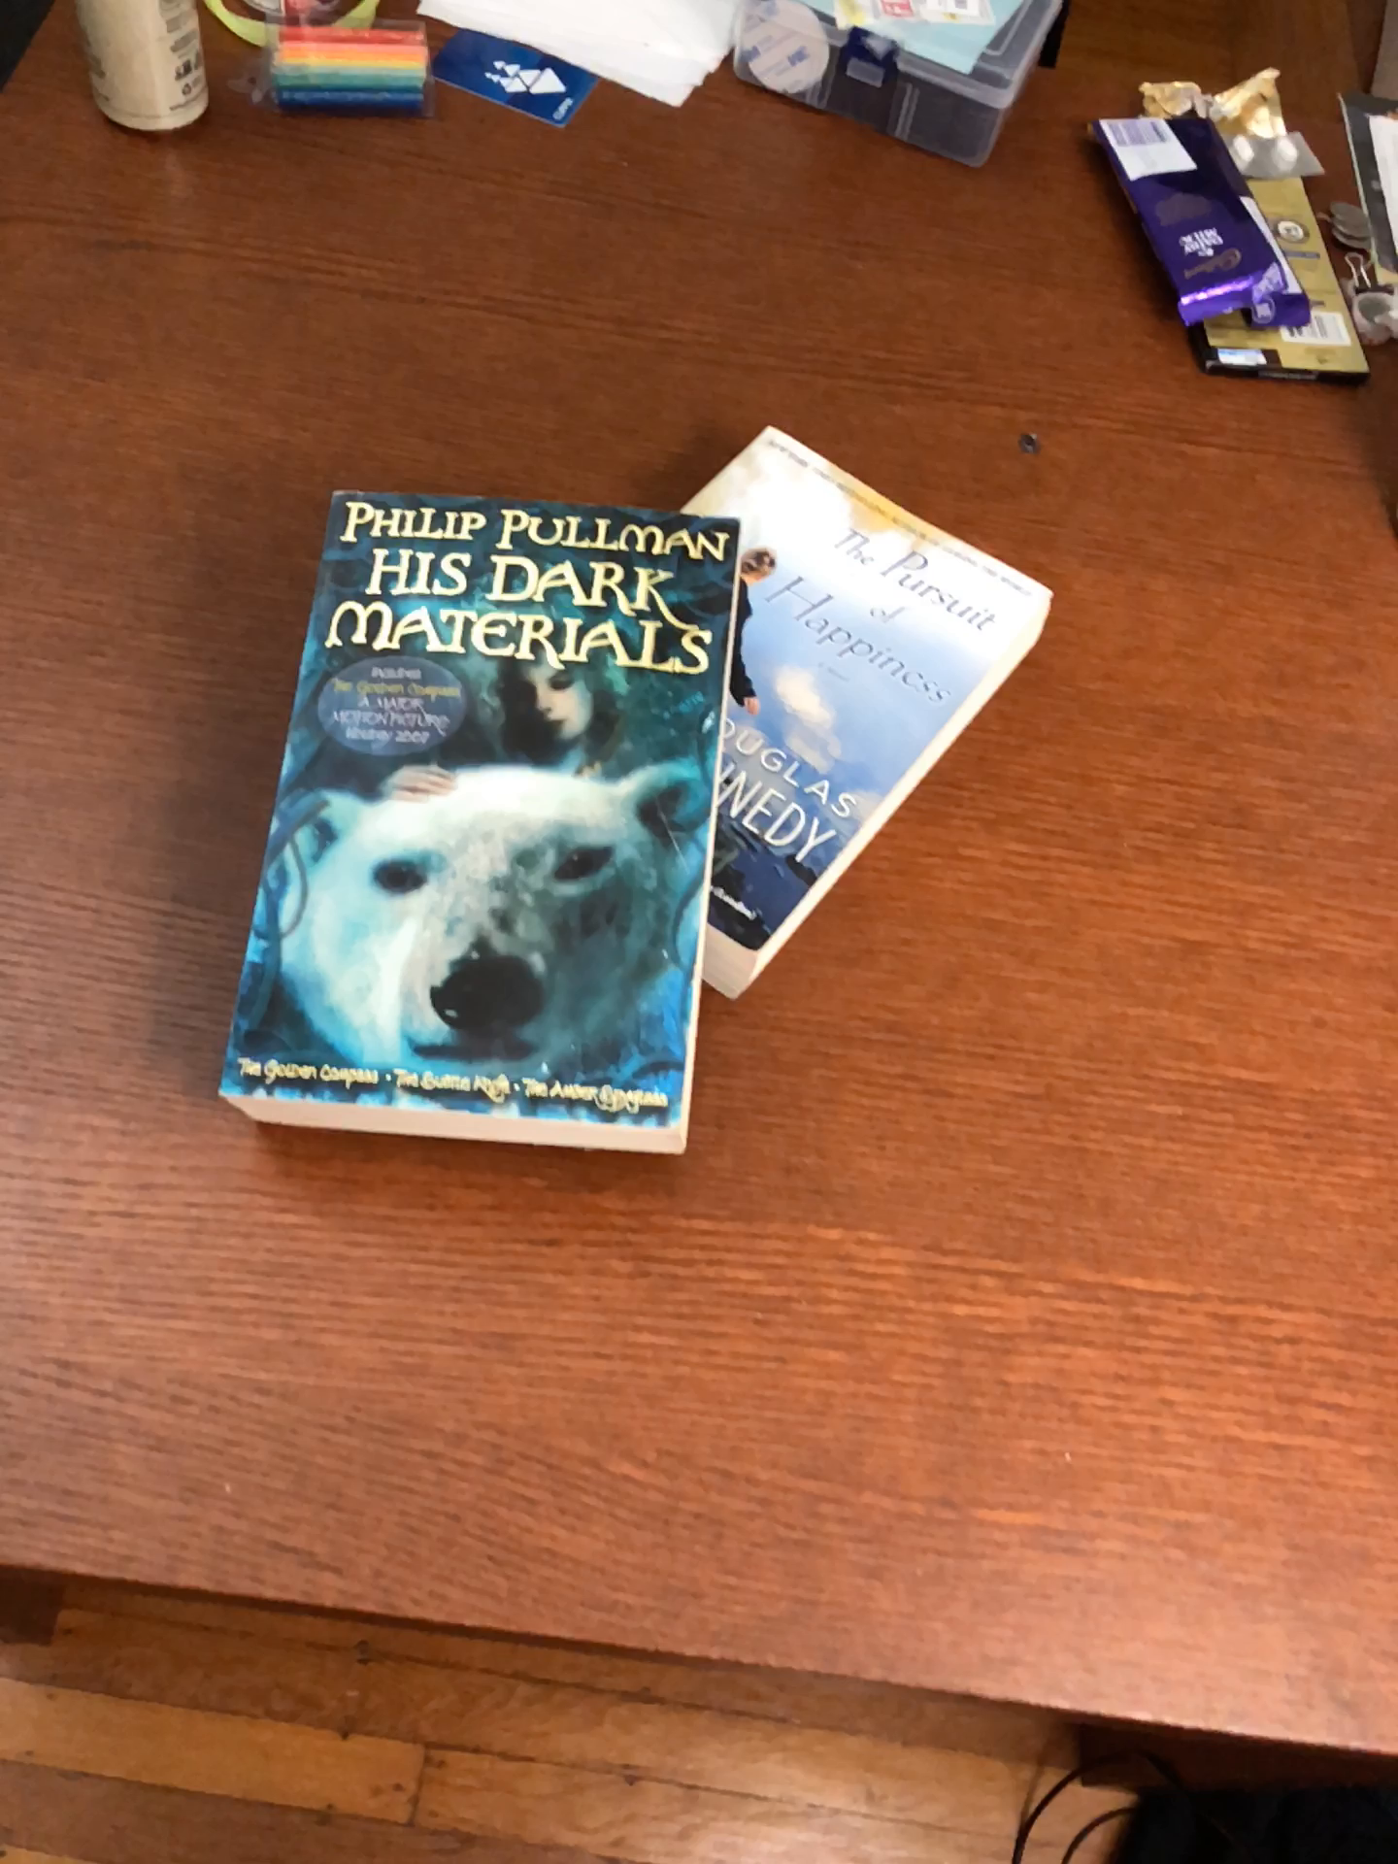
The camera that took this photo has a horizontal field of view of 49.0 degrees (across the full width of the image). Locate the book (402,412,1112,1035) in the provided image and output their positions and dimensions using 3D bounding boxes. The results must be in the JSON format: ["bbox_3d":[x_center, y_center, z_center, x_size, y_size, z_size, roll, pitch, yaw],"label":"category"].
[{"bbox_3d":[0.028,-0.097,0.626,0.170,0.040,0.241,35,64,19],"label":"book"}]

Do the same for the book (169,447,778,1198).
[{"bbox_3d":[-0.067,-0.040,0.529,0.170,0.060,0.241,5,72,0],"label":"book"}]
